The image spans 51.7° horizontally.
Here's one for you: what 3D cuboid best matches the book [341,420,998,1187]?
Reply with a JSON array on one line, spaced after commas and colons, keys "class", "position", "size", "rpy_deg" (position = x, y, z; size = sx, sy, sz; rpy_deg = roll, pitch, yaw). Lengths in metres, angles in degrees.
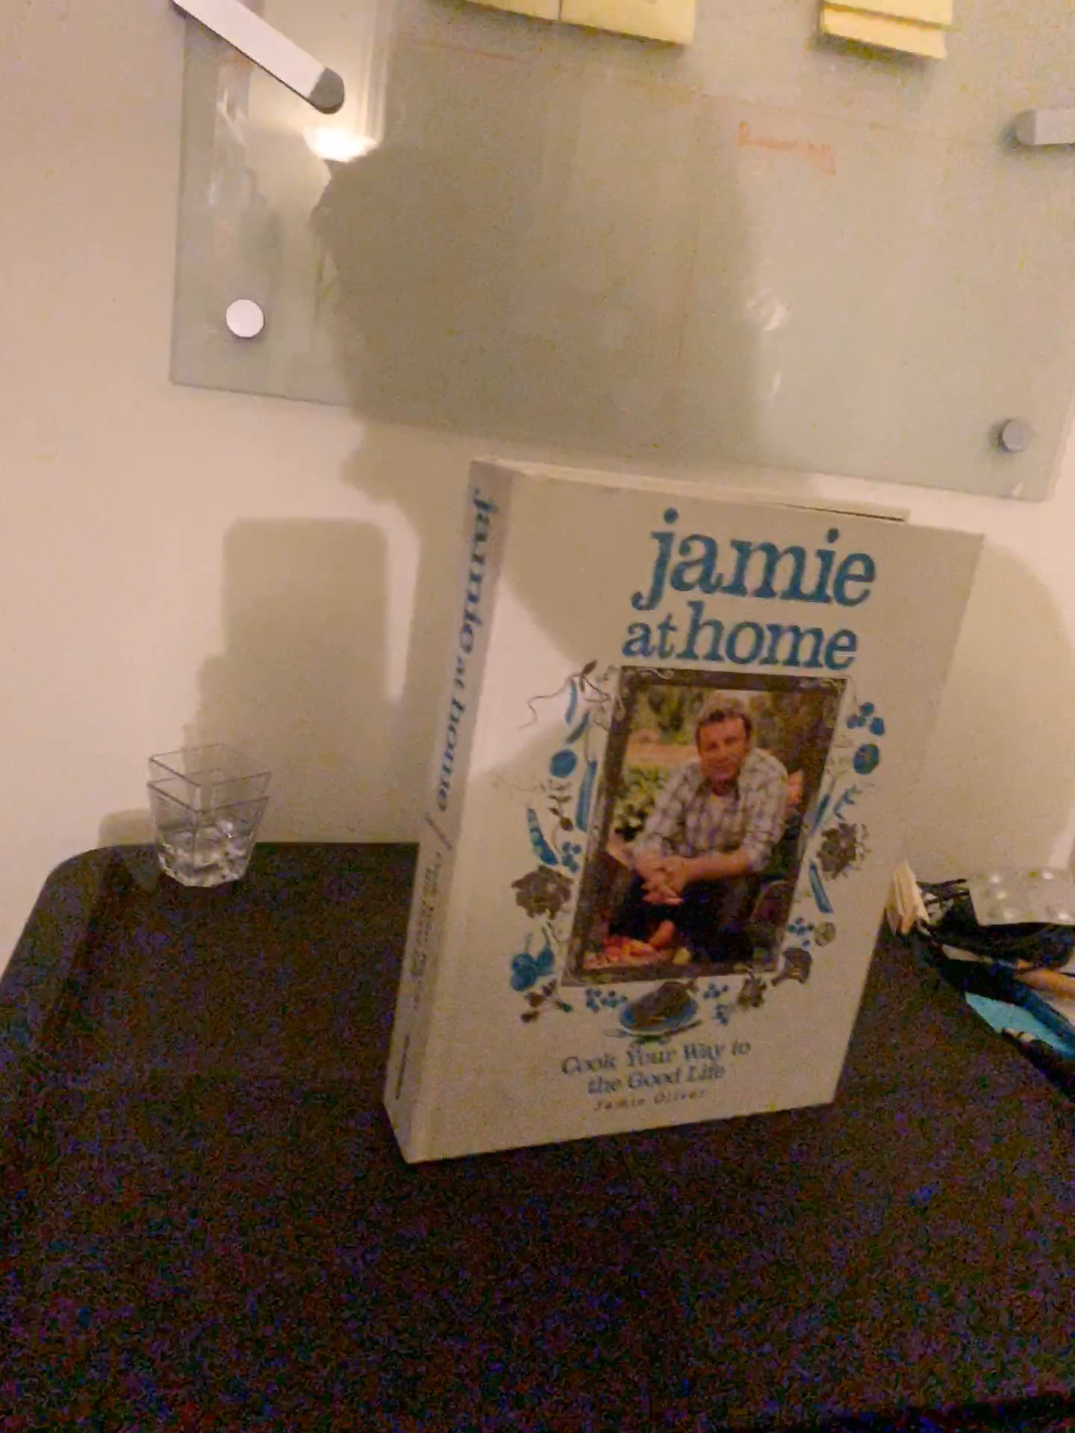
[{"class": "book", "position": [0.046, 0.038, 0.431], "size": [0.210, 0.269, 0.050], "rpy_deg": [2, 17, -23]}]
